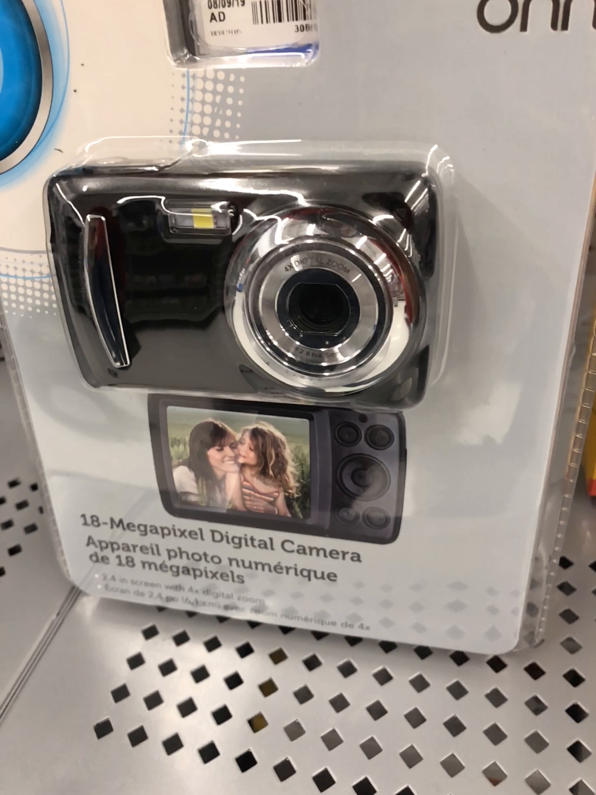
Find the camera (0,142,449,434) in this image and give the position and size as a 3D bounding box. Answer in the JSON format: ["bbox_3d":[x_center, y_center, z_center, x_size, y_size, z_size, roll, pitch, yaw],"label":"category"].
[{"bbox_3d":[-0.016,-0.029,0.168,0.100,0.060,0.030,5,32,14],"label":"camera"}]
